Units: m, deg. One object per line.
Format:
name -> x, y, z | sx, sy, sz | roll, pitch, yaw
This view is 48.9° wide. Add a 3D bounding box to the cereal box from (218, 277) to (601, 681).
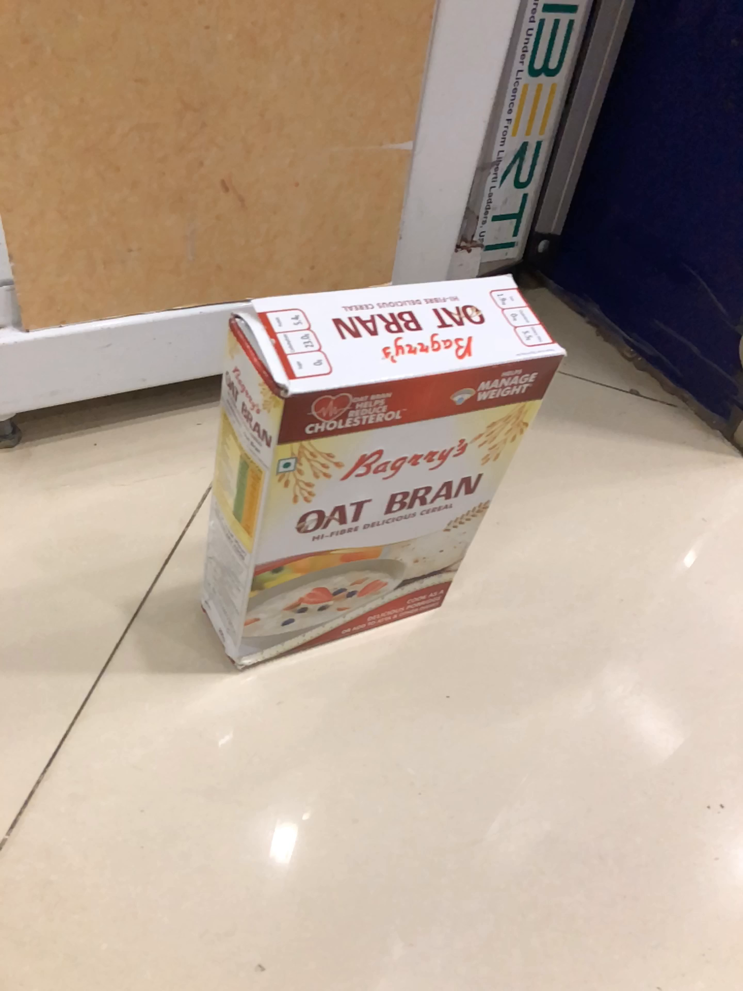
cereal box -> 0.005, -0.001, 0.427 | 0.150, 0.209, 0.060 | -11, 51, -22
